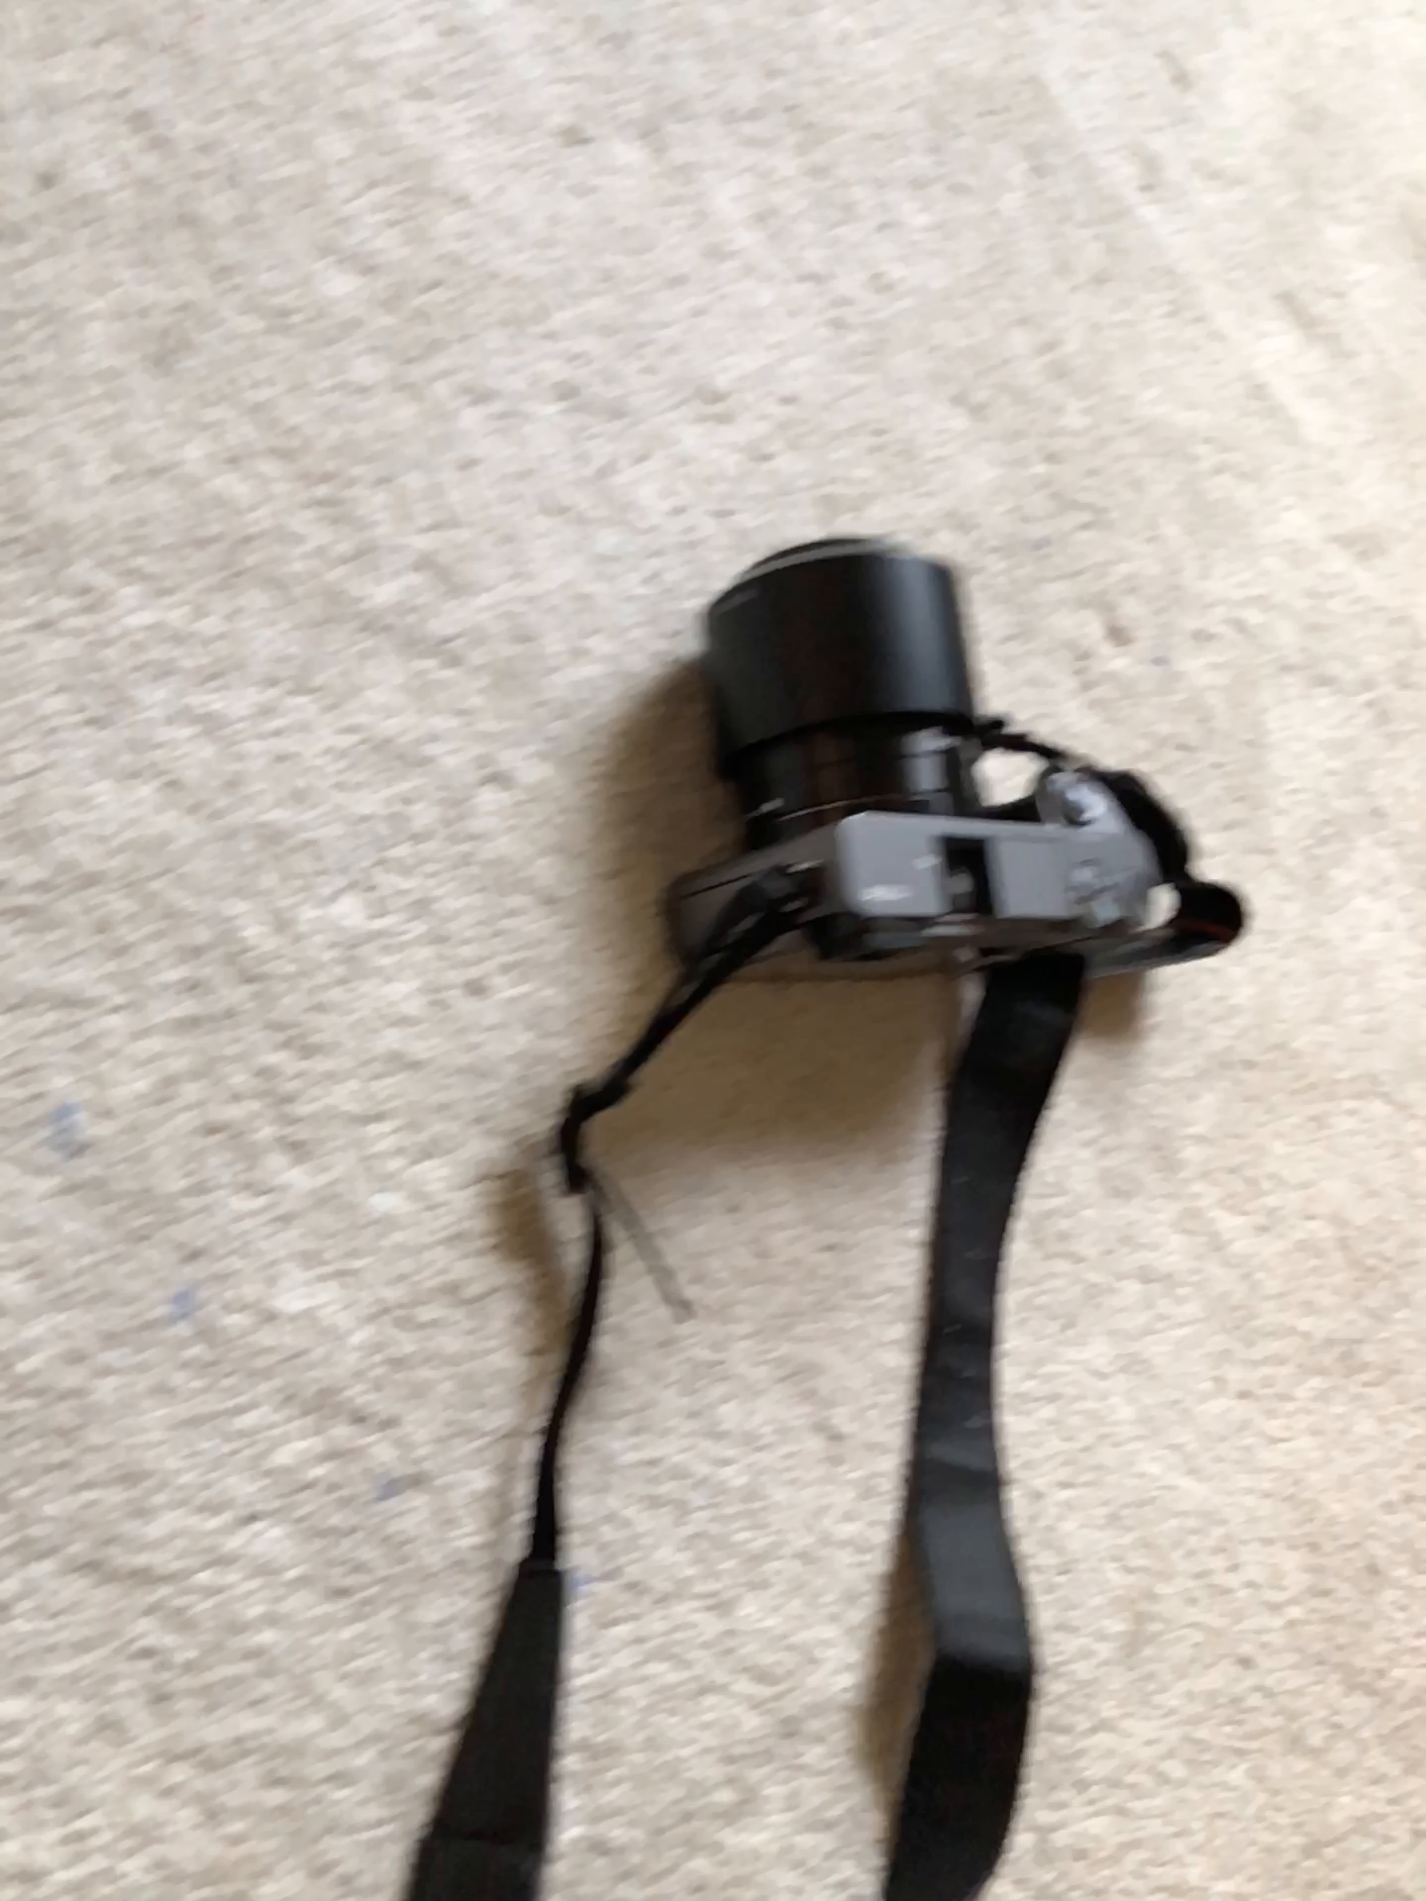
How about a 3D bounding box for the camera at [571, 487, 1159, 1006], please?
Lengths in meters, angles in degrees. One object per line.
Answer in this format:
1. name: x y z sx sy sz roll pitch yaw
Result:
1. camera: 0.039 -0.043 0.395 0.121 0.070 0.100 0 79 -42
